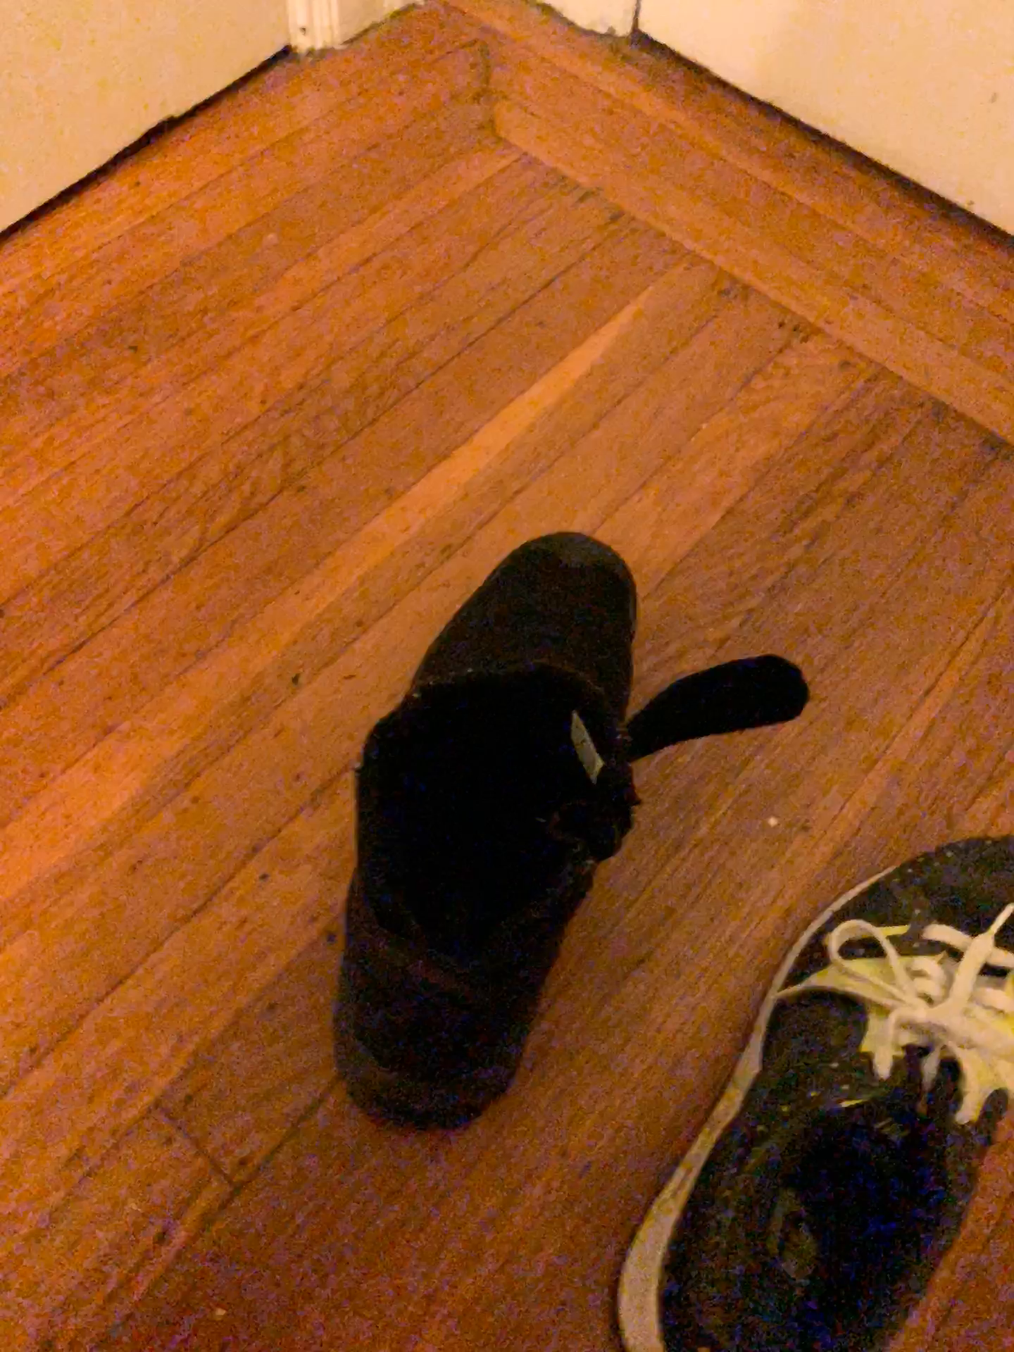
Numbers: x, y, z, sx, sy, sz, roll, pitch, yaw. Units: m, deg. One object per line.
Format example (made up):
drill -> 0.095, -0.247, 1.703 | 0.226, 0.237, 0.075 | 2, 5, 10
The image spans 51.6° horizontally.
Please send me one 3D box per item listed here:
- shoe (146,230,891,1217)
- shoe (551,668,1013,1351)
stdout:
shoe -> 0.019, 0.032, 0.440 | 0.160, 0.239, 0.311 | 16, 62, 4
shoe -> 0.154, 0.154, 0.401 | 0.120, 0.100, 0.290 | 34, 65, 13
